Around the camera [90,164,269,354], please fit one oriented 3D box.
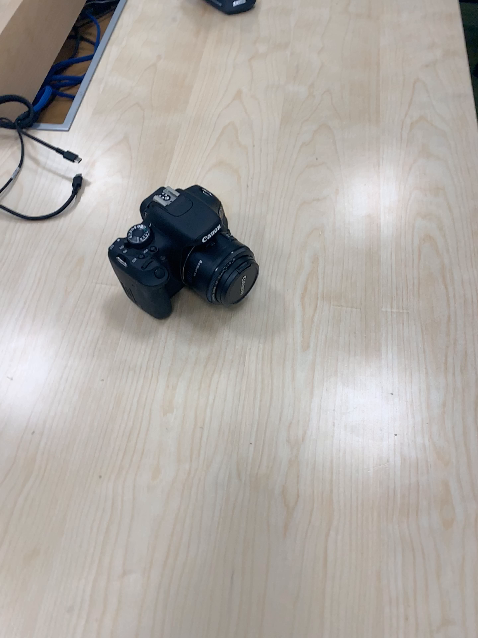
[{"bbox_3d":[-0.056,-0.064,0.521,0.119,0.100,0.130,37,68,22],"label":"camera"}]
